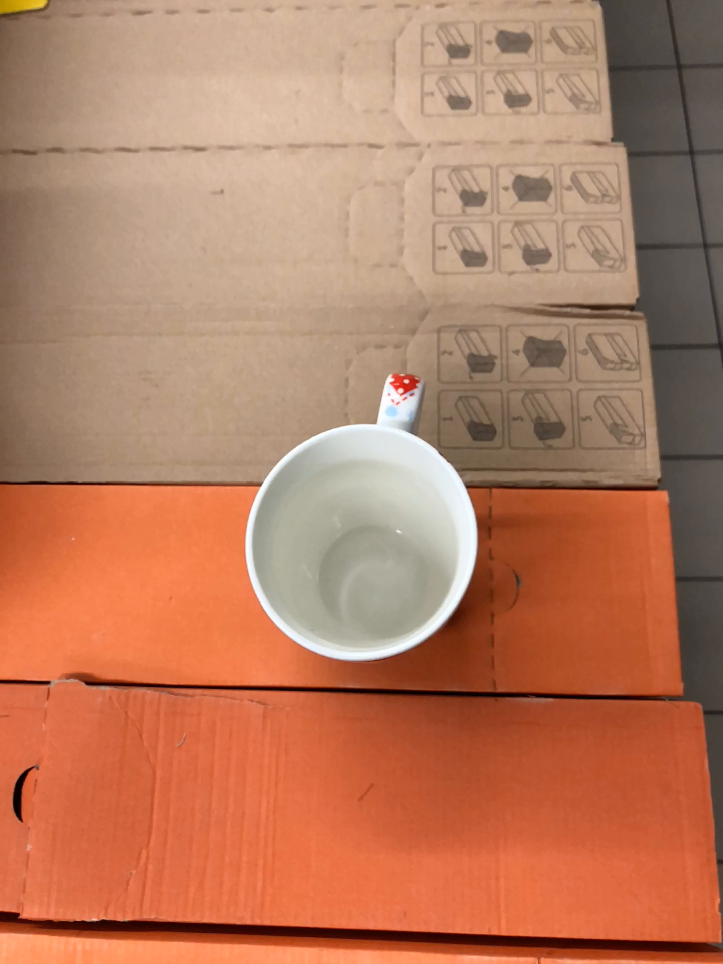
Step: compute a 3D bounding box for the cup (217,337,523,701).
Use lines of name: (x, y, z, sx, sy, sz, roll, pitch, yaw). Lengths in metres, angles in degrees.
cup: (0.008, 0.020, 0.324, 0.086, 0.093, 0.113, 11, 73, 7)
